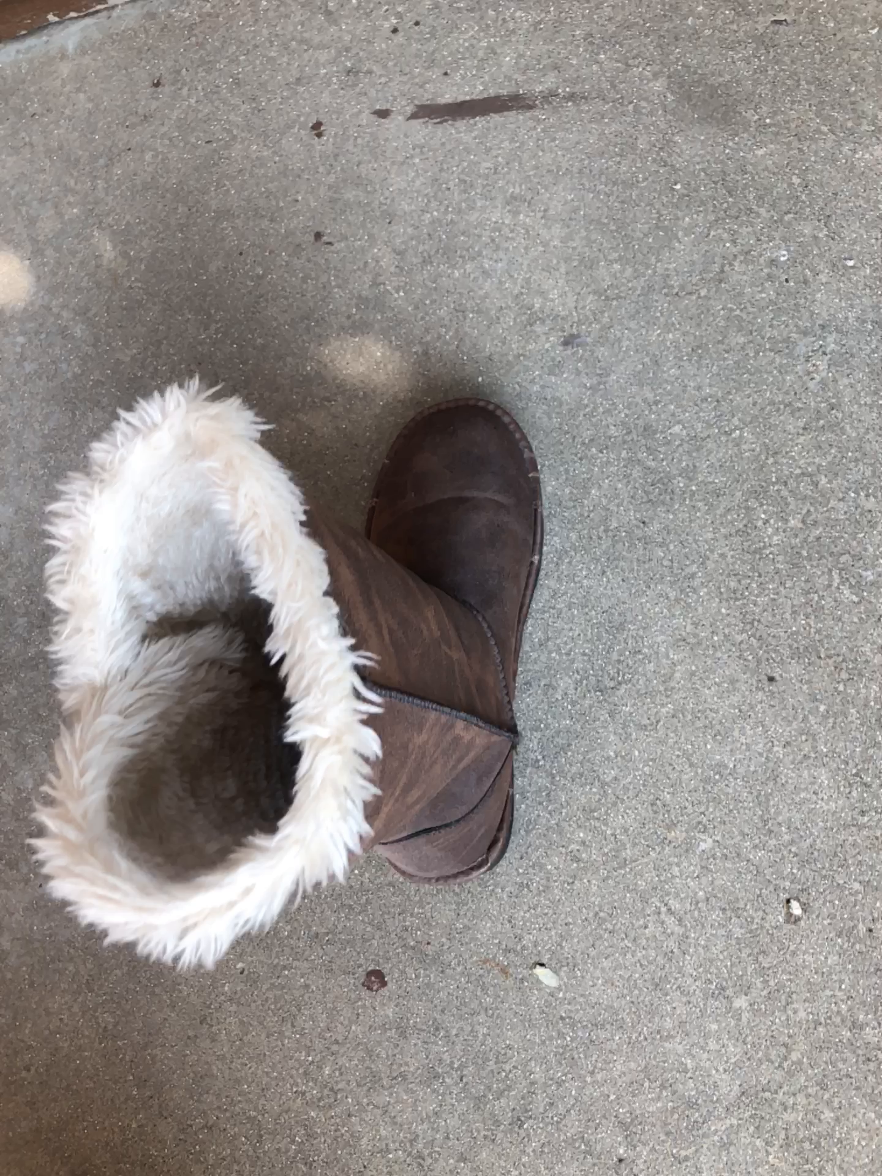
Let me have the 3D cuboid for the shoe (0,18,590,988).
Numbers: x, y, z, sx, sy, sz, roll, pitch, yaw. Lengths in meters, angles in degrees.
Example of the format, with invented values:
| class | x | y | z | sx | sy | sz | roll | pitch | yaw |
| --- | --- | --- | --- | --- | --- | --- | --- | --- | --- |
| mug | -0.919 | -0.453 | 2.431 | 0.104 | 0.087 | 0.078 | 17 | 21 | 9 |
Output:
| class | x | y | z | sx | sy | sz | roll | pitch | yaw |
| --- | --- | --- | --- | --- | --- | --- | --- | --- | --- |
| shoe | -0.023 | -0.001 | 0.435 | 0.120 | 0.320 | 0.280 | 0 | 77 | 18 |
